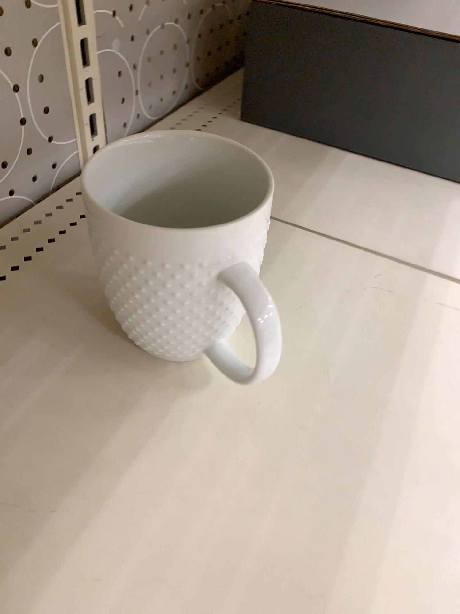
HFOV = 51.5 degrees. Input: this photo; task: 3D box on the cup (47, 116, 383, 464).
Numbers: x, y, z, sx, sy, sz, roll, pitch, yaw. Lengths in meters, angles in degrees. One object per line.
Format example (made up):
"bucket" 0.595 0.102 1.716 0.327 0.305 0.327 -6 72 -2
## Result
"cup" -0.016 -0.016 0.263 0.094 0.105 0.138 -29 56 -30
